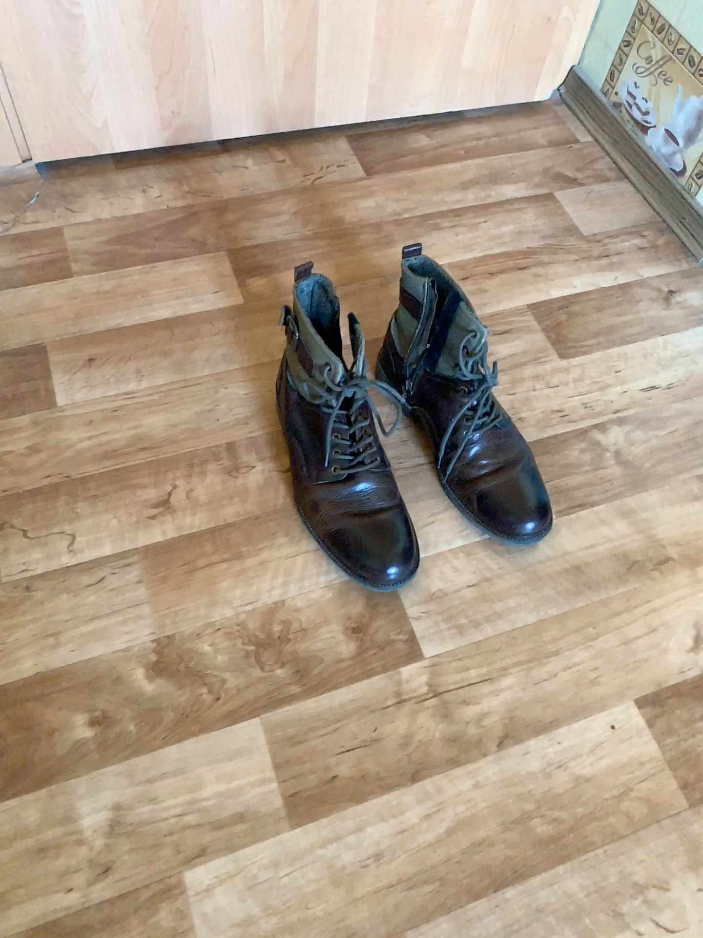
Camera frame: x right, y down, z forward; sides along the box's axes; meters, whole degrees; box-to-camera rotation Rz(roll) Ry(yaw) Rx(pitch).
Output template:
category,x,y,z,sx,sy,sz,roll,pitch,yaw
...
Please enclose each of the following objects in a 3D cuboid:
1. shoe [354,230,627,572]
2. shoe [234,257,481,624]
category,x,y,z,sx,sy,sz,roll,pitch,yaw
shoe,0.122,-0.076,0.746,0.110,0.150,0.311,-19,62,-16
shoe,-0.010,-0.033,0.701,0.110,0.150,0.311,-17,62,-15
